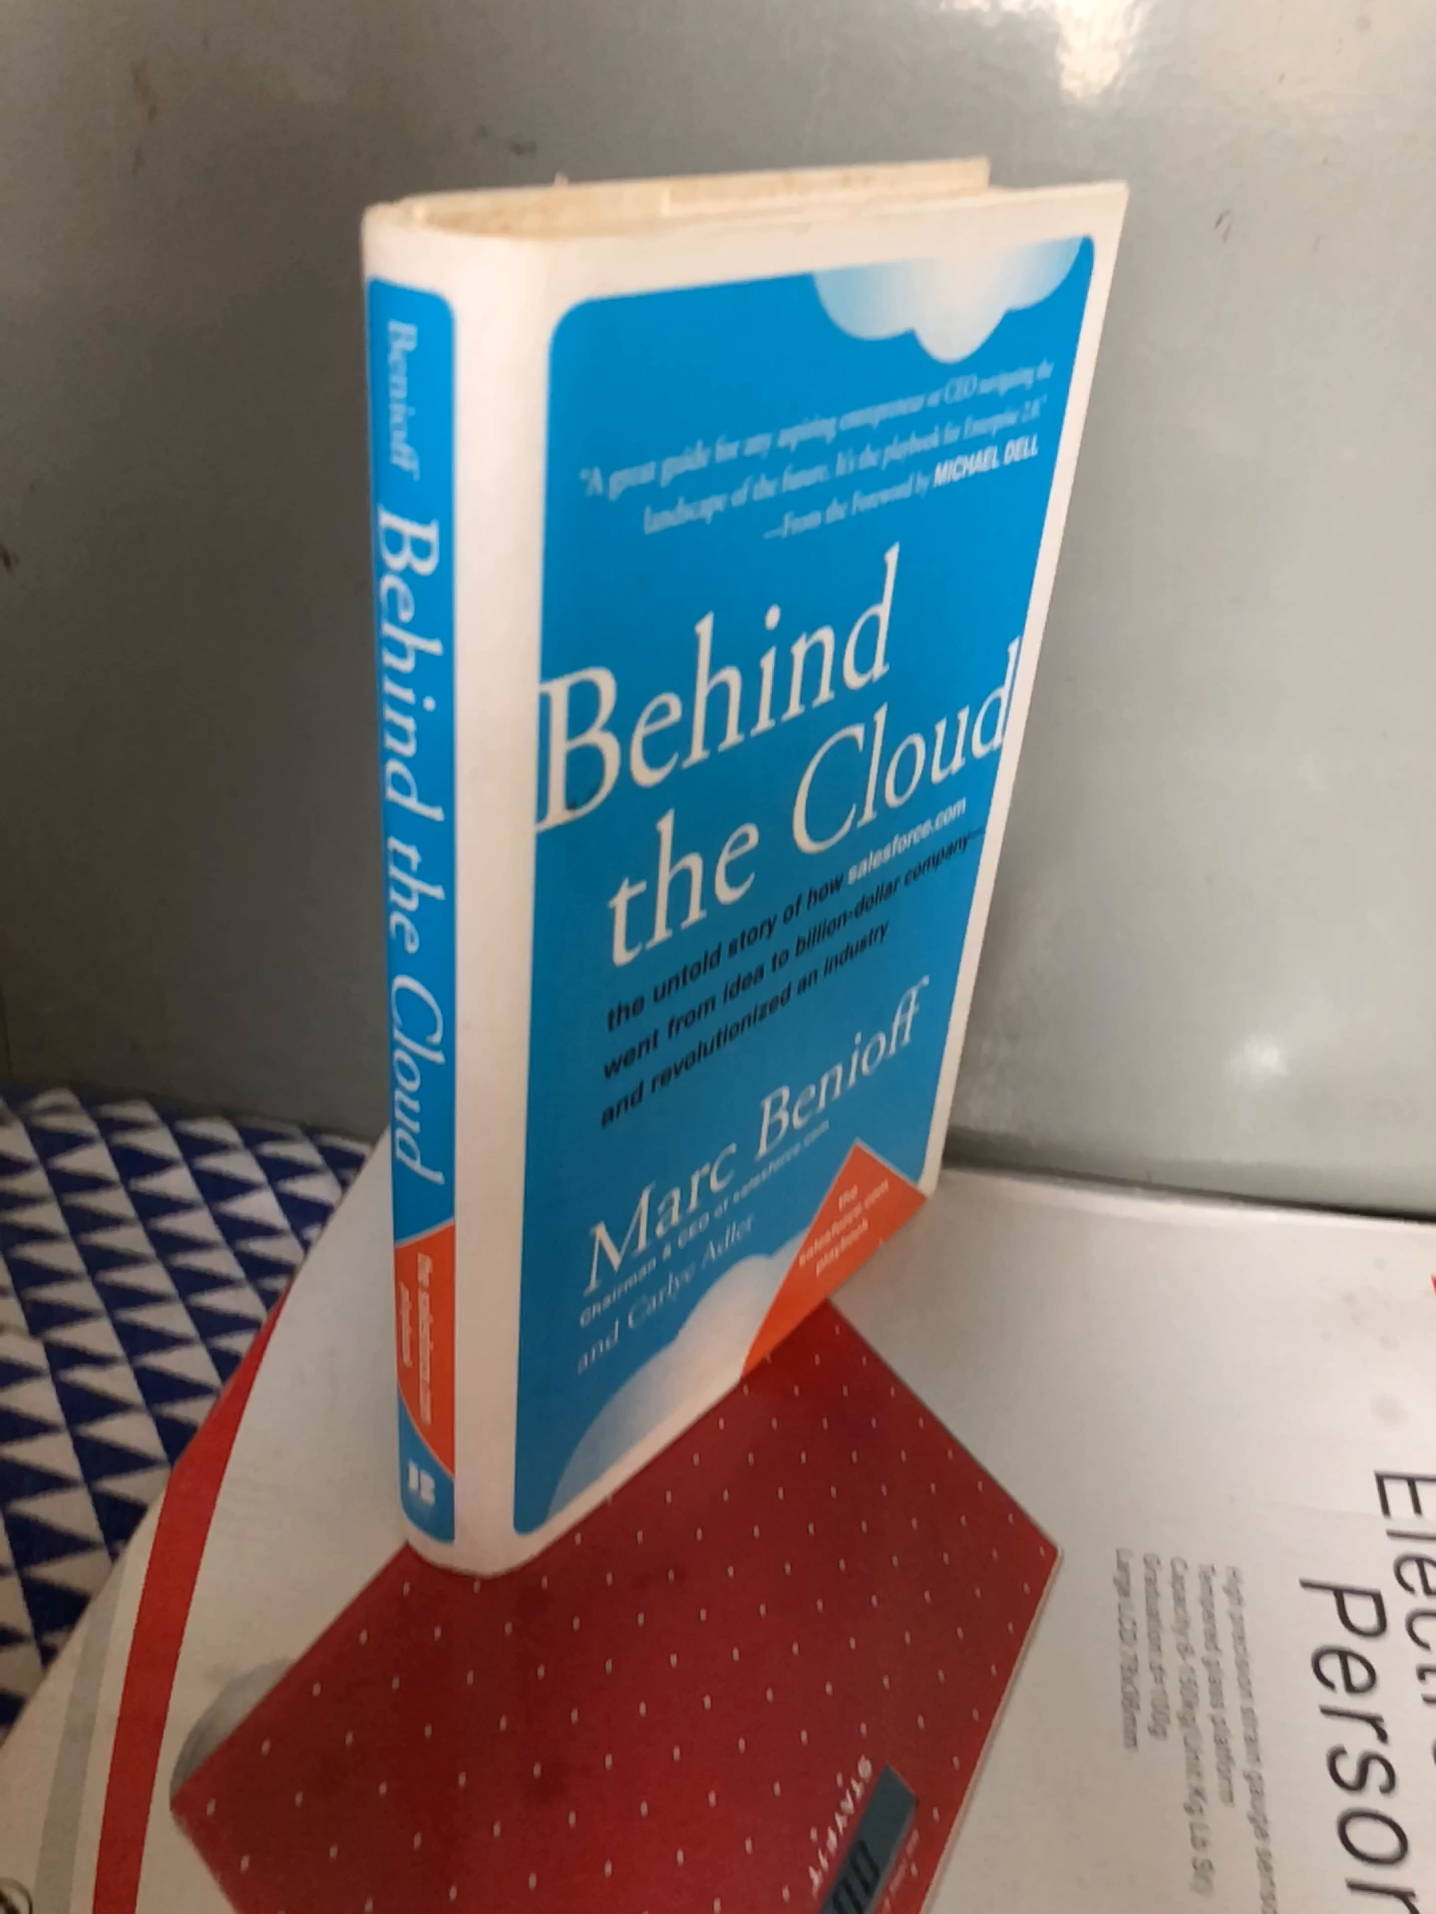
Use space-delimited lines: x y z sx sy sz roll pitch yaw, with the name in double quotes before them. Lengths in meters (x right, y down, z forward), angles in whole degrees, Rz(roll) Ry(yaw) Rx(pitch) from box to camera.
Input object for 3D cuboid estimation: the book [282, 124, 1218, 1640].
"book" 0.013 -0.022 0.307 0.040 0.239 0.191 24 34 31
